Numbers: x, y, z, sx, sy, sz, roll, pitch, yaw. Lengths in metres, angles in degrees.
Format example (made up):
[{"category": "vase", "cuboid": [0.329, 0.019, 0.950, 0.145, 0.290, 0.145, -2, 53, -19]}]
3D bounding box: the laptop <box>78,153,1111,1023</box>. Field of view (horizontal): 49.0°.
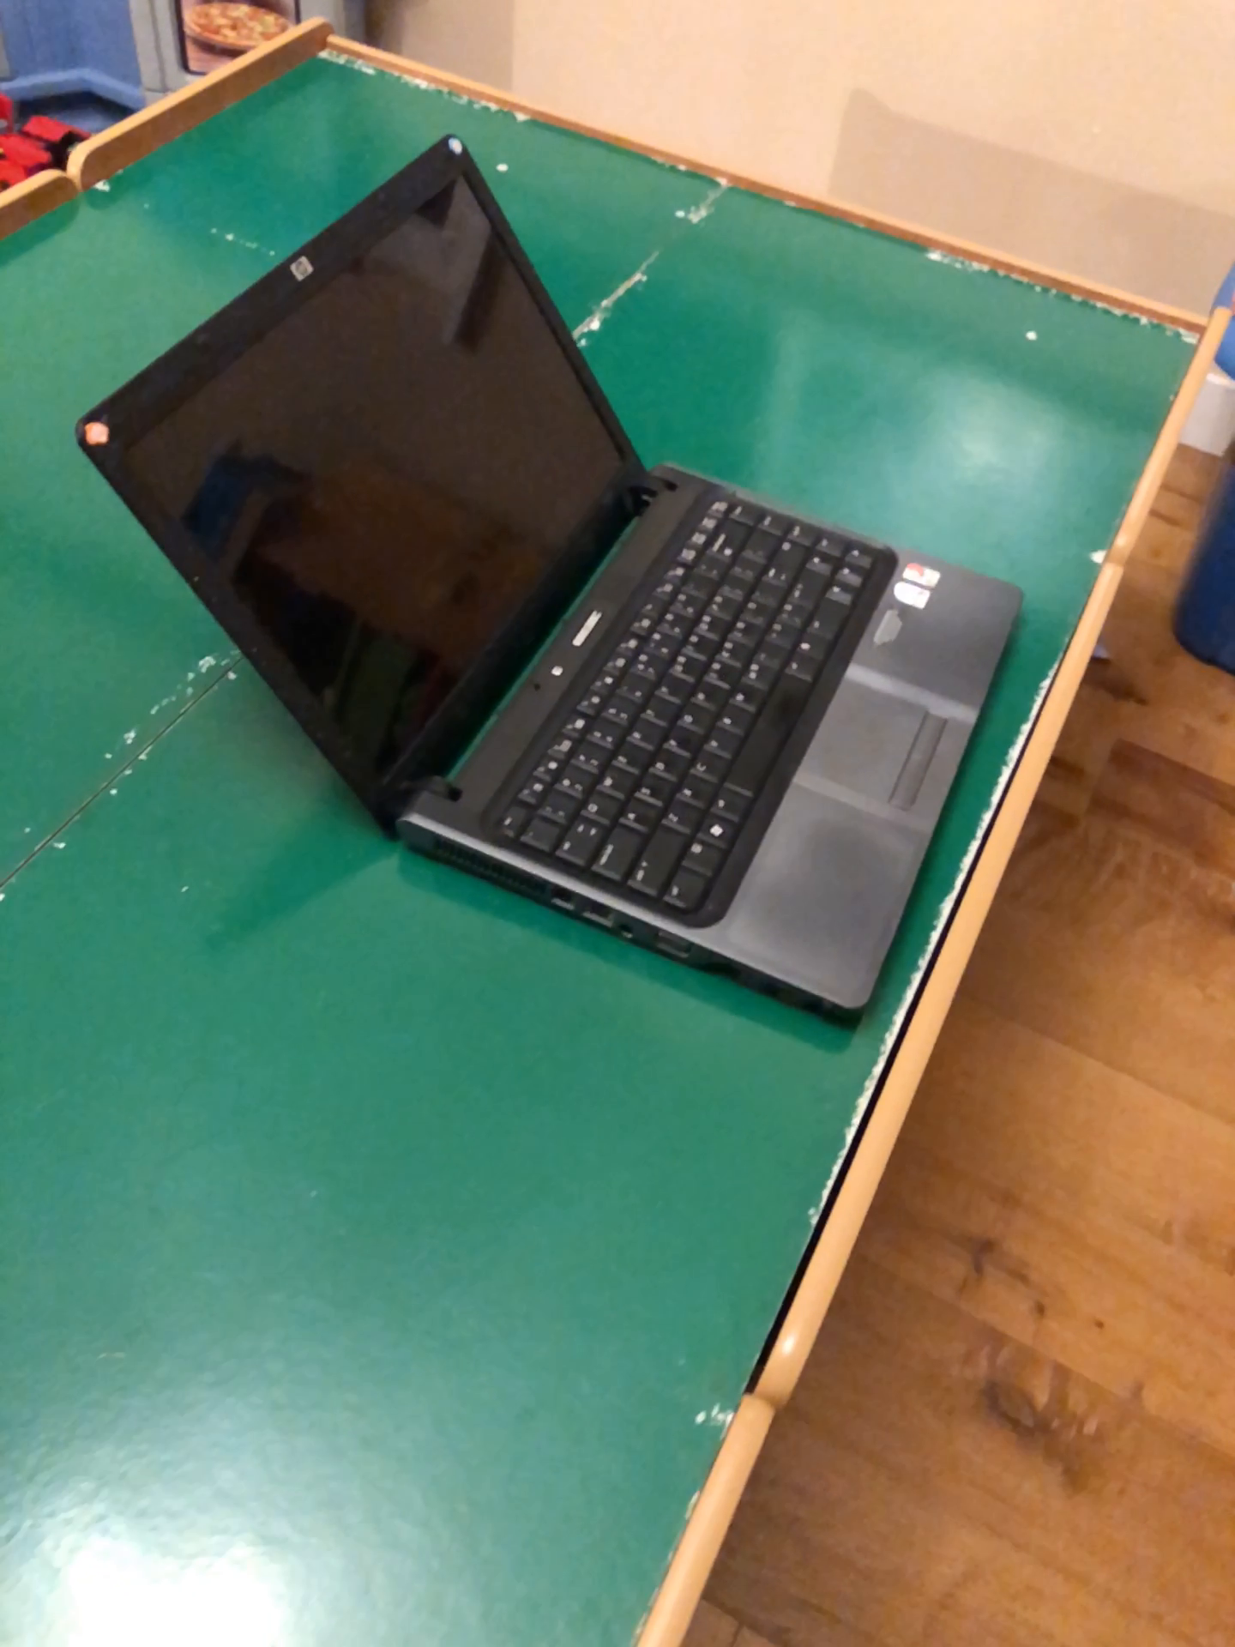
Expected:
[{"category": "laptop", "cuboid": [0.005, -0.142, 0.687, 0.374, 0.172, 0.324, 22, 51, 12]}]
